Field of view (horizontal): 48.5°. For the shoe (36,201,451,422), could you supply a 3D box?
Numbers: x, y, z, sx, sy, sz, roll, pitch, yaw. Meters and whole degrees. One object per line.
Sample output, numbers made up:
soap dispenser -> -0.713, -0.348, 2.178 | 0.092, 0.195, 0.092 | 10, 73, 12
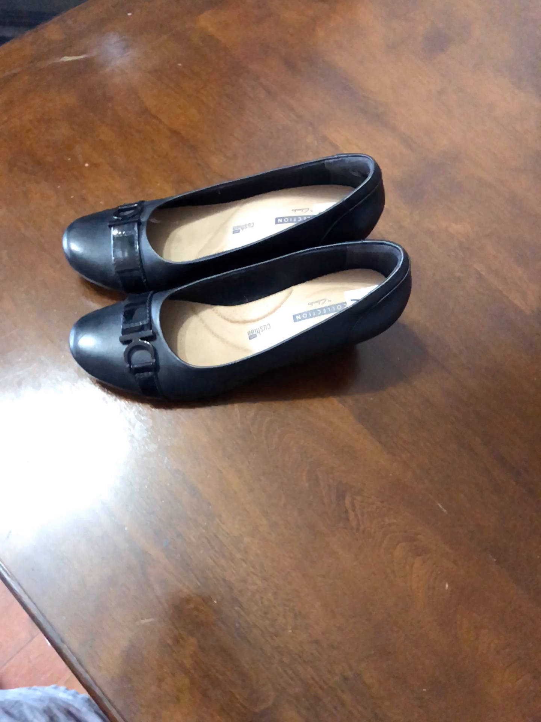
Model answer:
shoe -> -0.021, -0.032, 0.429 | 0.250, 0.110, 0.090 | -7, 69, -9

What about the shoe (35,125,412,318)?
shoe -> -0.036, -0.105, 0.466 | 0.250, 0.110, 0.090 | -4, 69, -7
